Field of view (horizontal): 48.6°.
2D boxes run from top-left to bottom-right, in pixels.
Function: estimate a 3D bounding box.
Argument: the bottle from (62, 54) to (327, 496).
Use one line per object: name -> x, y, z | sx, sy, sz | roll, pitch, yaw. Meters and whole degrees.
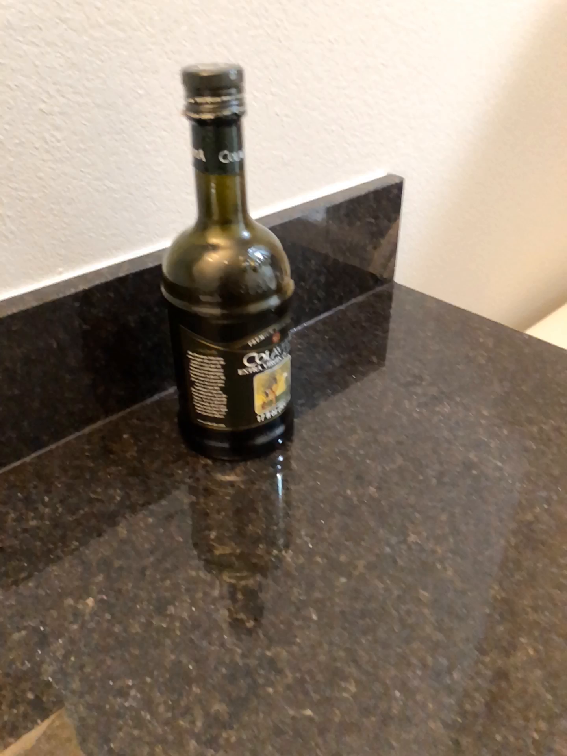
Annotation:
bottle -> -0.042, -0.057, 0.364 | 0.090, 0.219, 0.090 | 0, 34, 0
